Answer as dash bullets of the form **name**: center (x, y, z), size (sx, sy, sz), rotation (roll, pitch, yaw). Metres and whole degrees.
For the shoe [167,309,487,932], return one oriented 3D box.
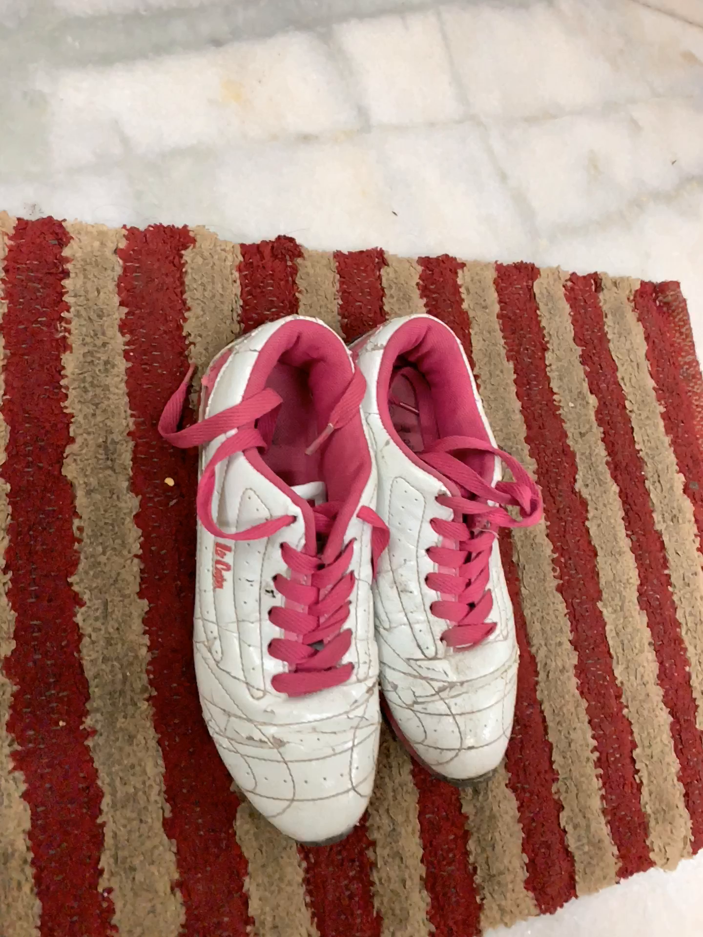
- **shoe**: center (-0.023, 0.058, 0.345), size (0.090, 0.100, 0.240), rotation (-3, 77, -25)

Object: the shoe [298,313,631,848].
- **shoe**: center (0.050, 0.051, 0.391), size (0.100, 0.100, 0.240), rotation (-3, 77, -25)
